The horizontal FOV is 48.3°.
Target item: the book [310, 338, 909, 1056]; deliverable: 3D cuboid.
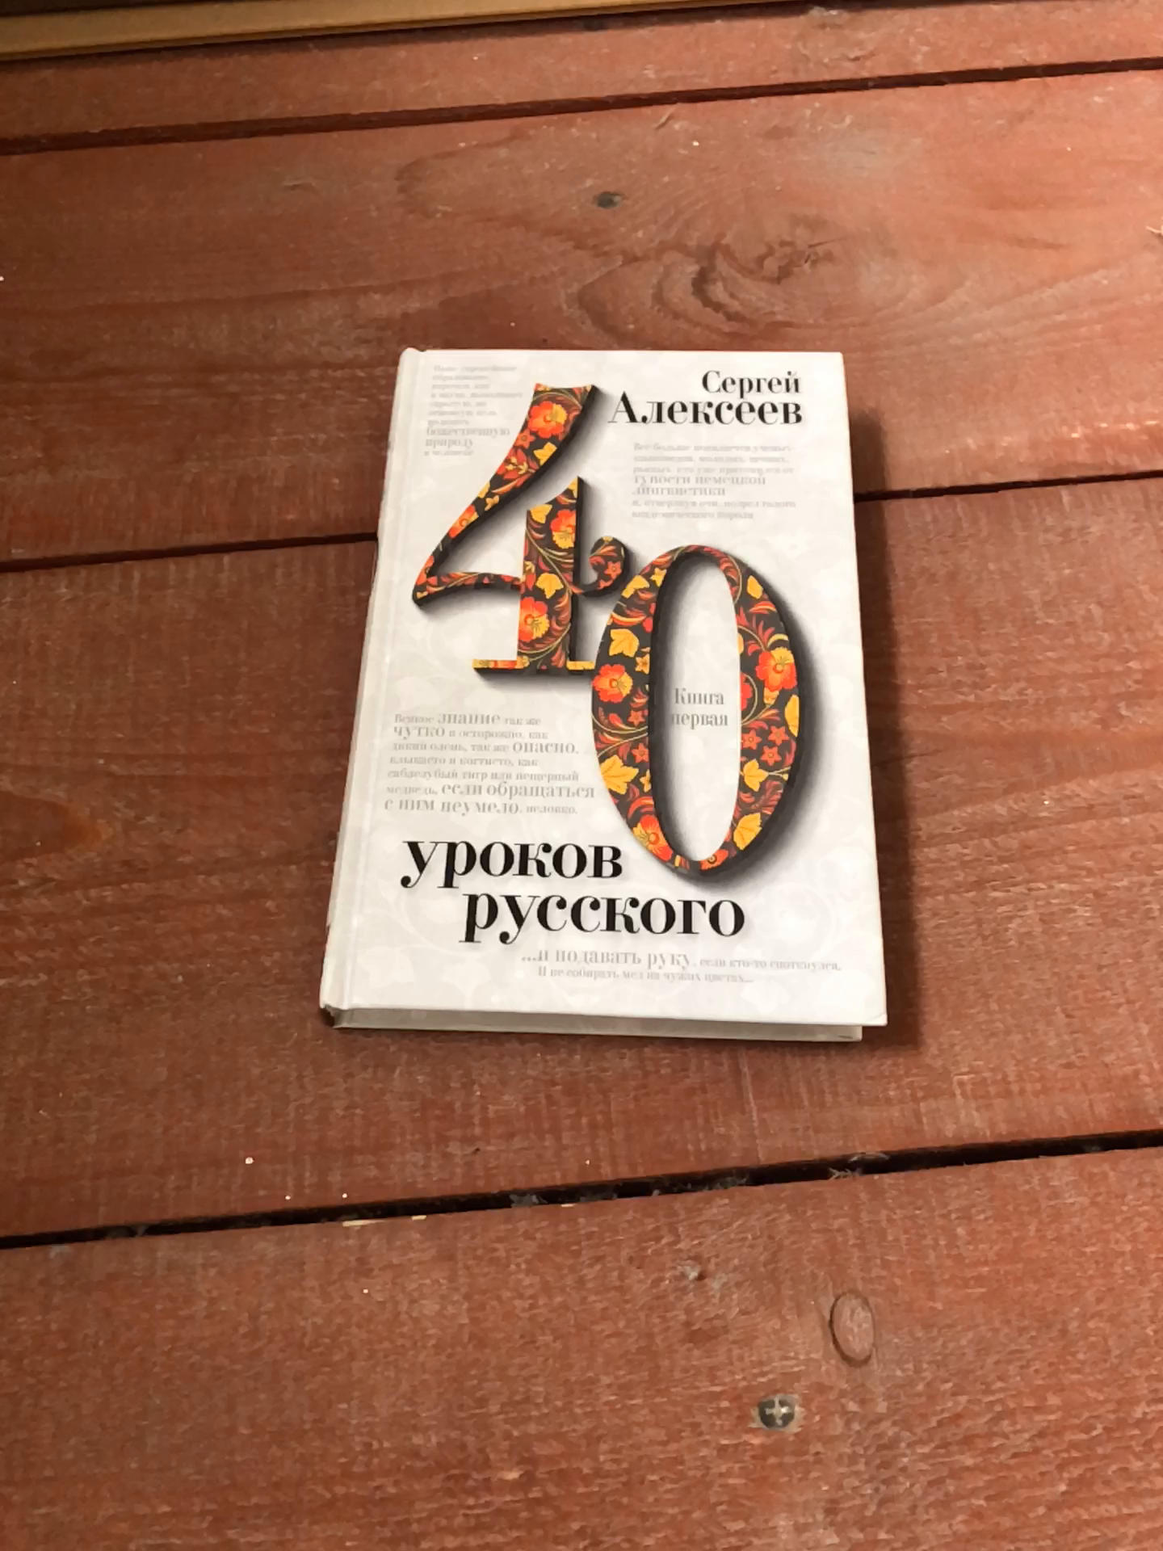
[{"bbox_3d":[0.009,-0.030,0.348,0.135,0.030,0.200,1,65,2],"label":"book"}]
